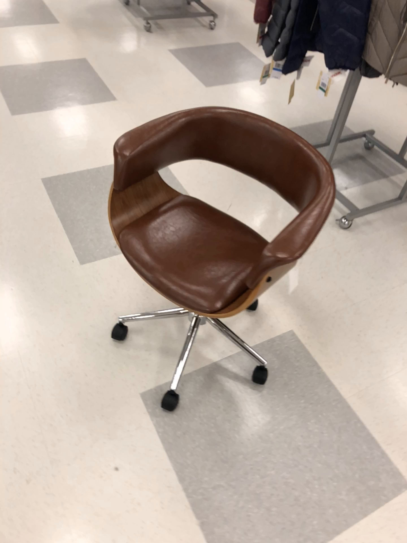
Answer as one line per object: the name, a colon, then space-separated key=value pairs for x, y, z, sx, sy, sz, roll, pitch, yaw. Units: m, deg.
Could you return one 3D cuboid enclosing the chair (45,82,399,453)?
chair: x=0.029 y=-0.029 z=1.329 sx=0.589 sy=0.697 sz=0.628 roll=38 pitch=53 yaw=25
